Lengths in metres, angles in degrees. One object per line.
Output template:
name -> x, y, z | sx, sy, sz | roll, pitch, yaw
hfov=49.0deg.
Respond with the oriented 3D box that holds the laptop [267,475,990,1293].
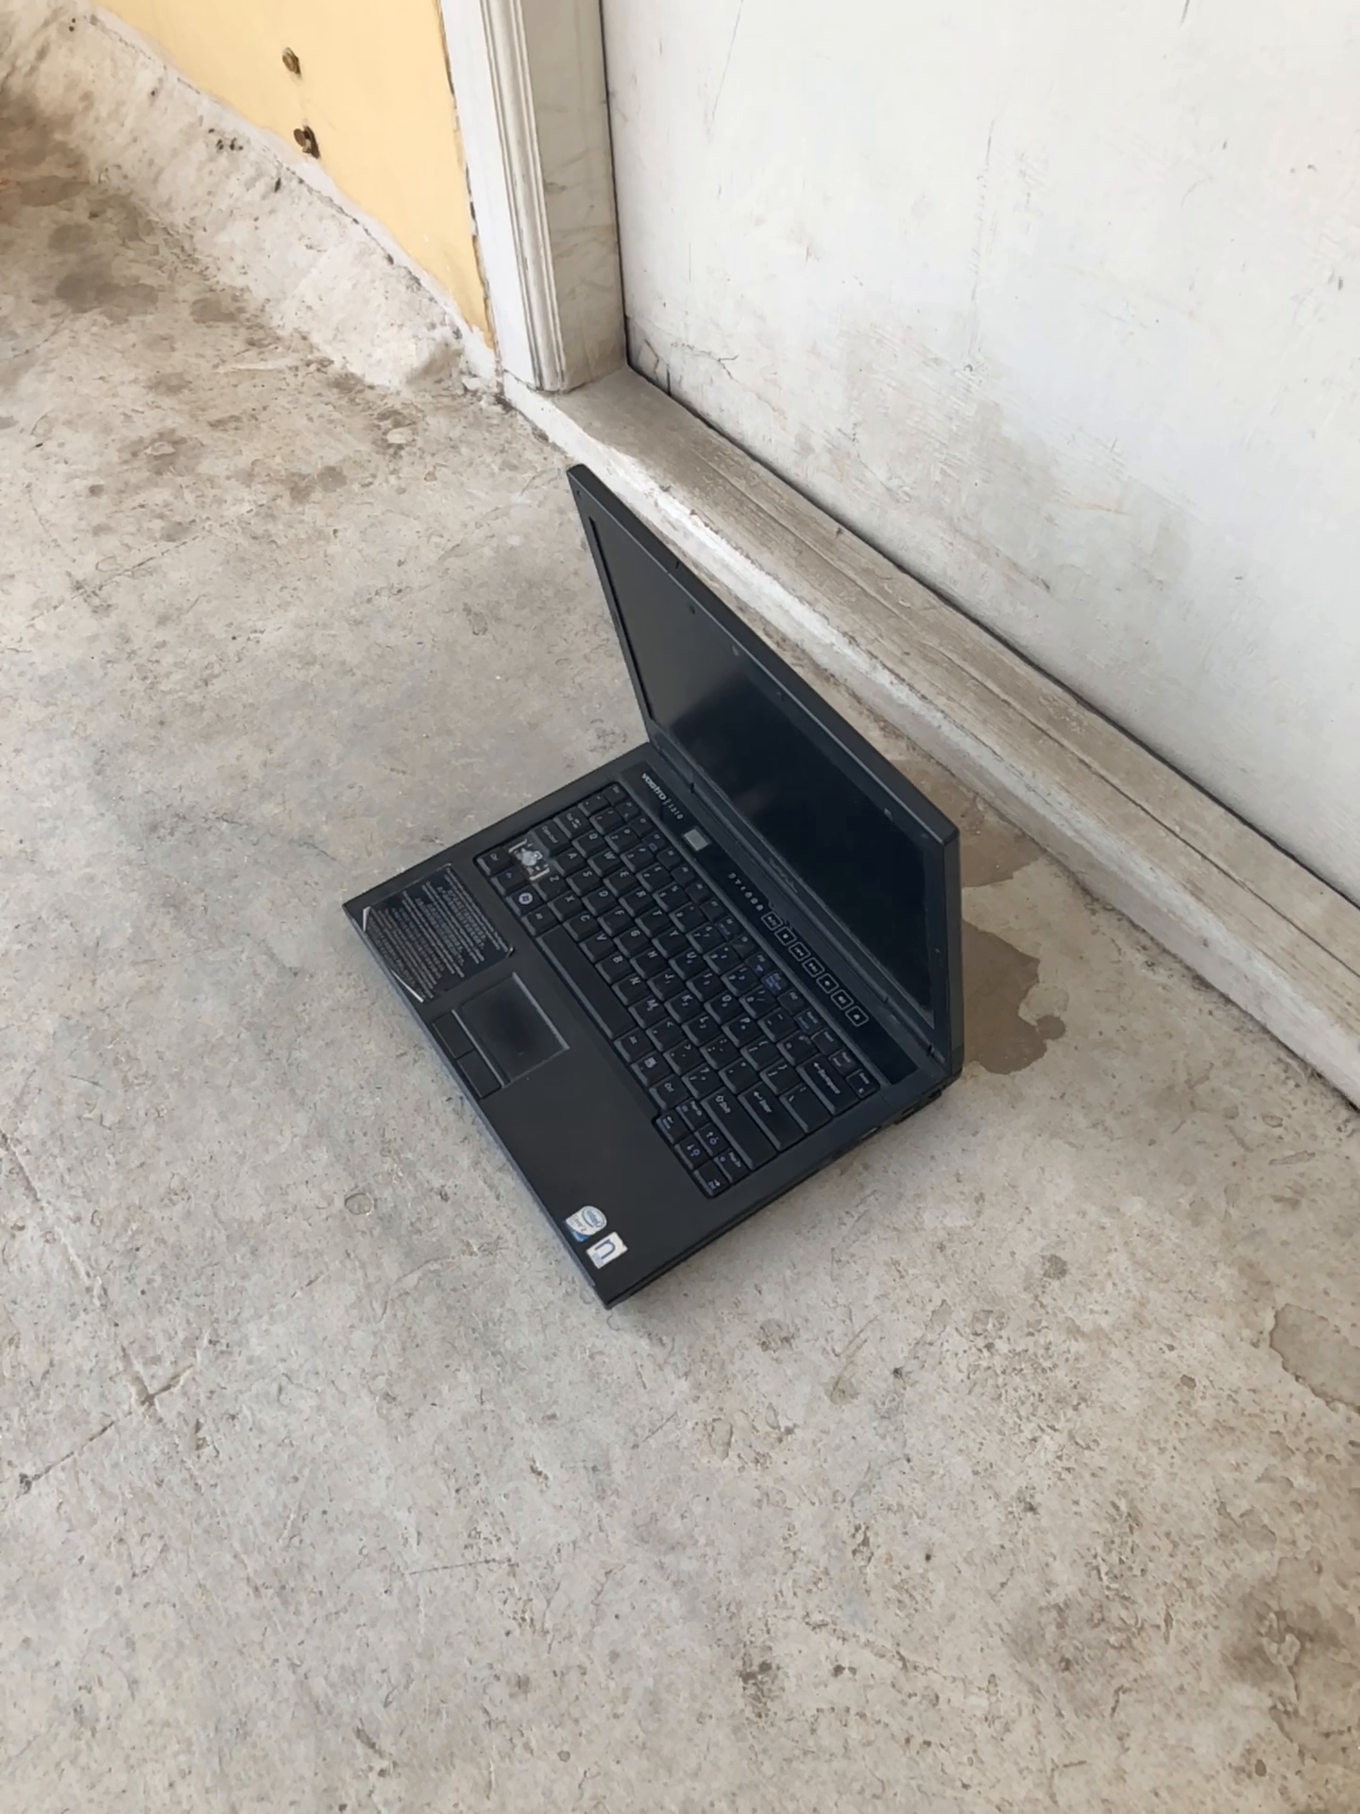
laptop -> -0.031, -0.016, 0.778 | 0.213, 0.219, 0.294 | -30, 57, -16
